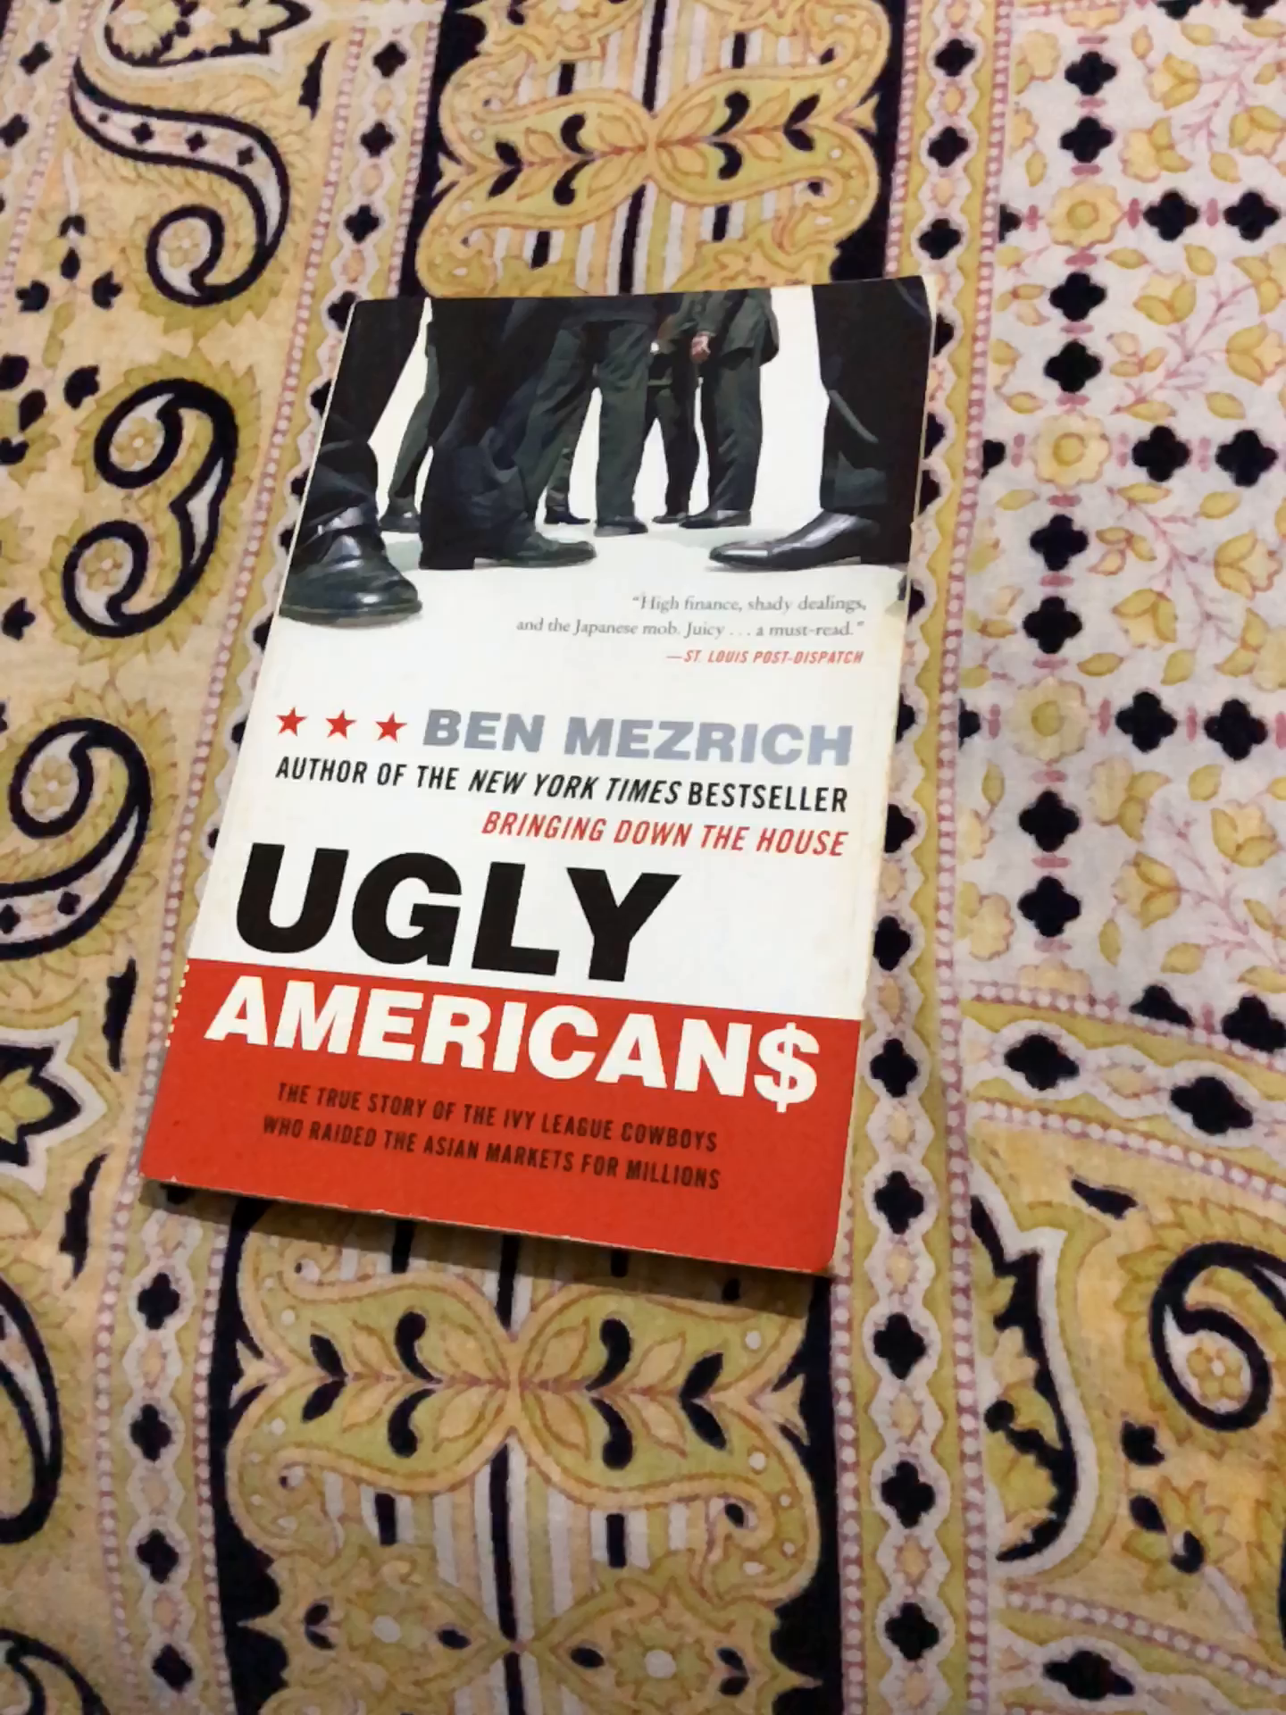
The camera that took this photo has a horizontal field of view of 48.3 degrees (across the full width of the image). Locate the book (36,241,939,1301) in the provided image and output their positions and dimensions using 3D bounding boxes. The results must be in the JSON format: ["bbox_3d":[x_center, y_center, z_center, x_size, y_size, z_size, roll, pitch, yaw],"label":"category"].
[{"bbox_3d":[-0.023,-0.024,0.274,0.140,0.030,0.190,3,73,16],"label":"book"}]
